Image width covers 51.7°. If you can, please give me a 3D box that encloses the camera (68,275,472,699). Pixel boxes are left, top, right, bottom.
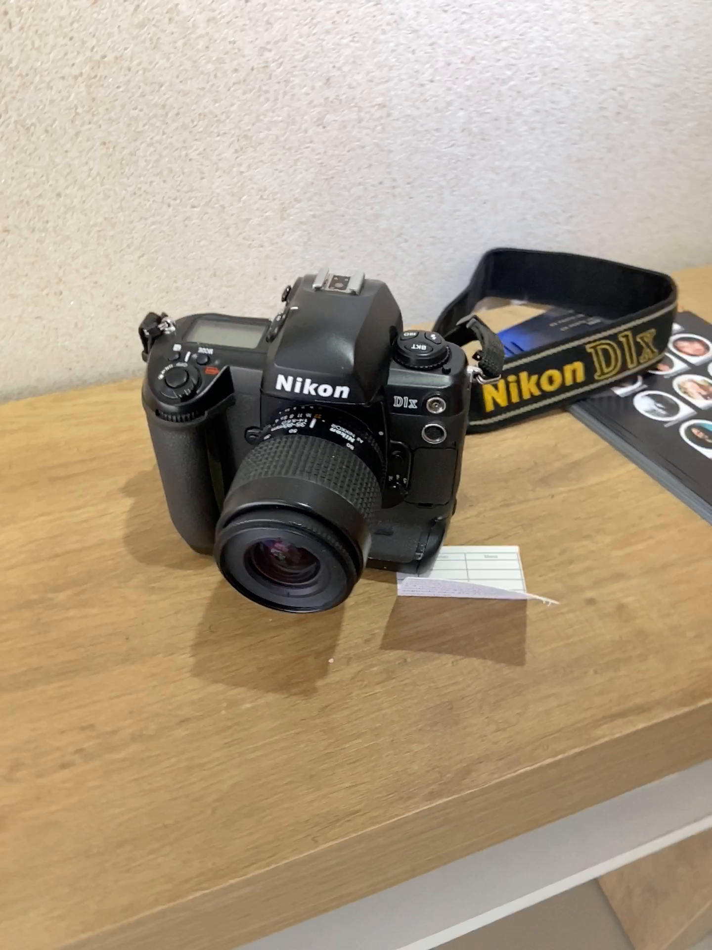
[{"bbox_3d":[-0.024,0.000,0.375,0.150,0.129,0.161,5,43,6],"label":"camera"}]
